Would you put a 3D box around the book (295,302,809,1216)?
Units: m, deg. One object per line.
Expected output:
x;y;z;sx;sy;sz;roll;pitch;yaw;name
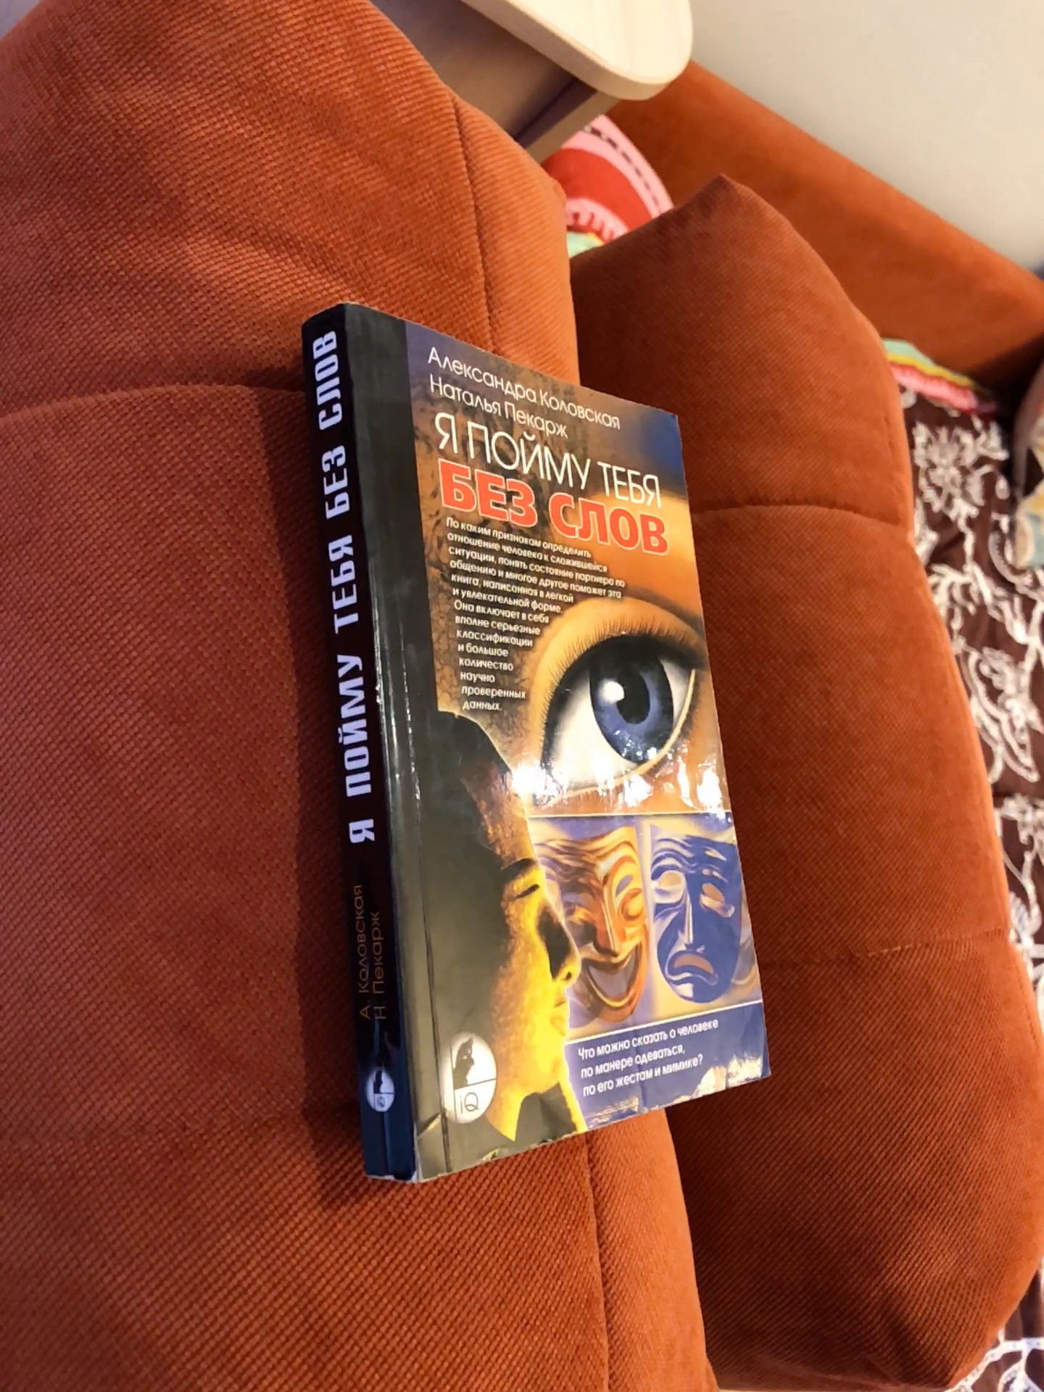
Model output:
0.012;0.012;0.292;0.129;0.030;0.190;4;76;-44;book
